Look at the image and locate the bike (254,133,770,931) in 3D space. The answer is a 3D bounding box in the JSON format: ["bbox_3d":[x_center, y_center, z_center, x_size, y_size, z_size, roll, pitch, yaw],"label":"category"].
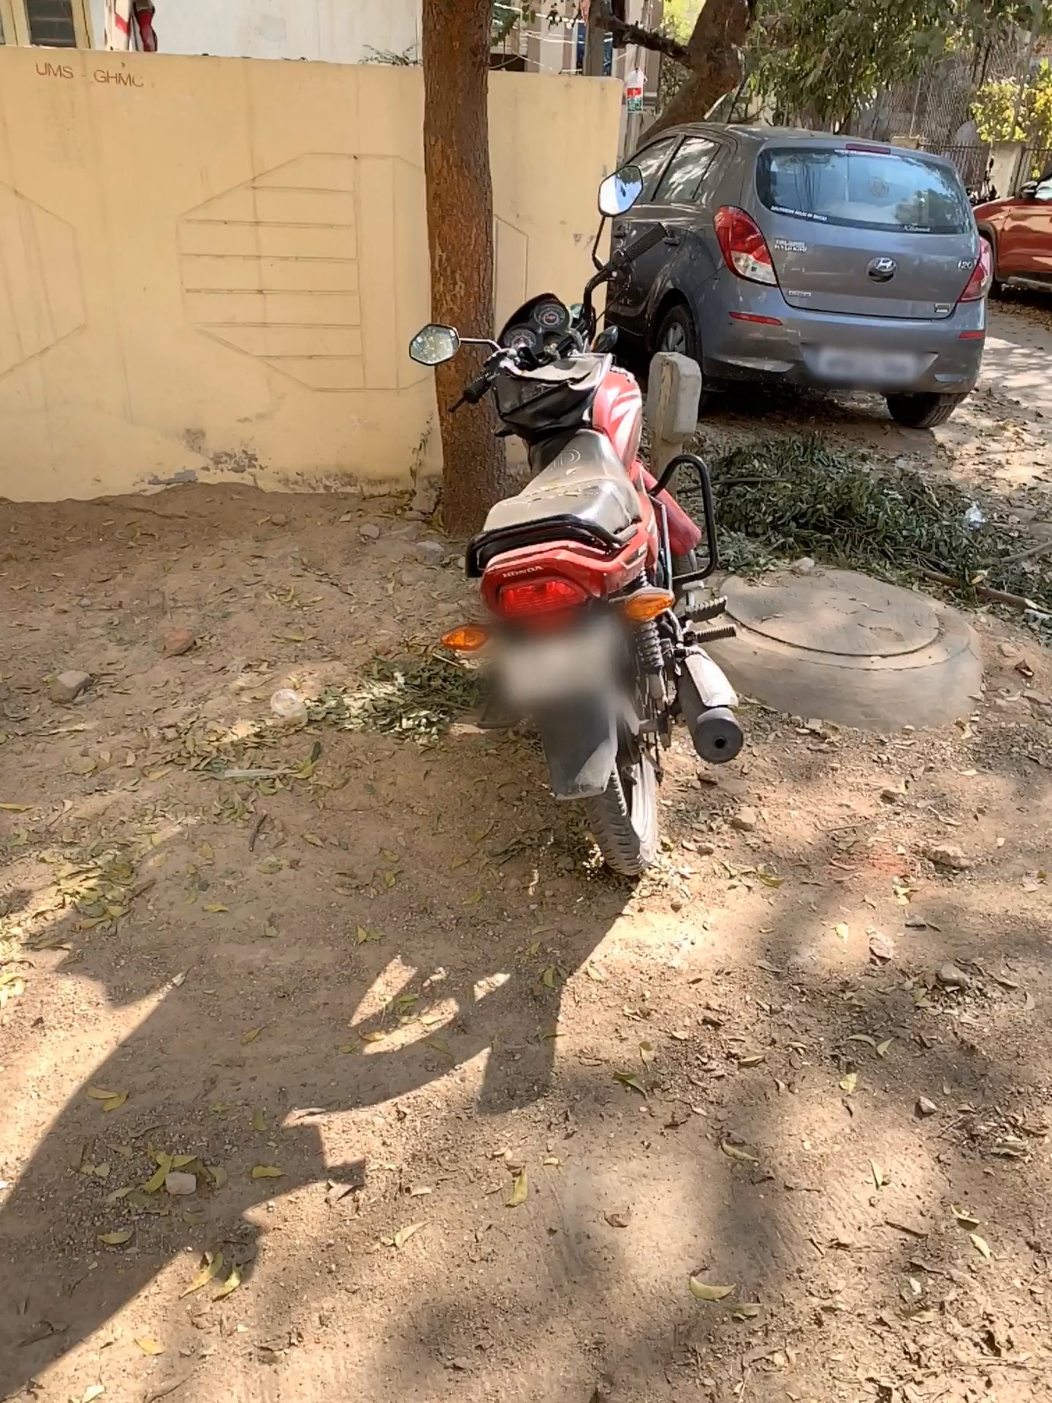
[{"bbox_3d":[-0.096,-0.561,2.560,0.775,1.178,1.650,1,32,-3],"label":"bike"}]
